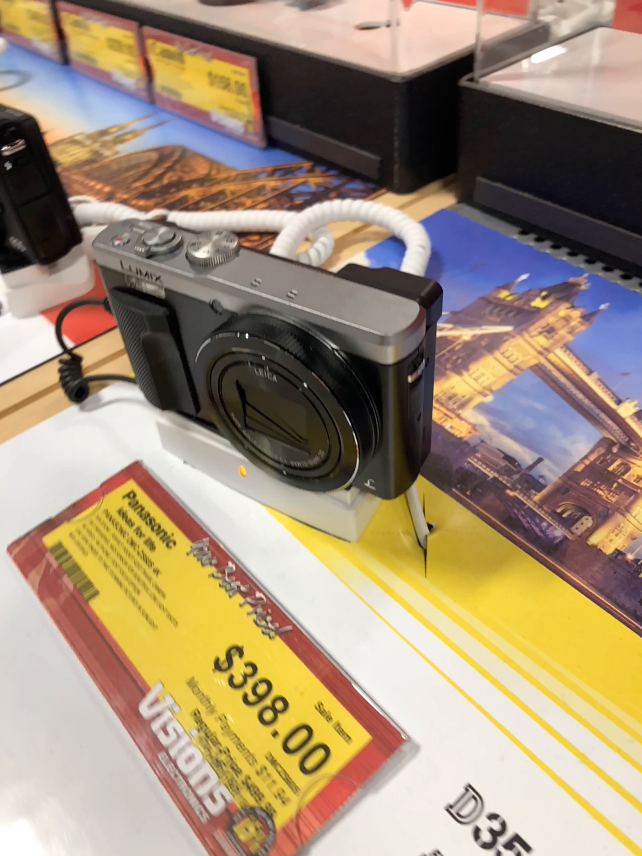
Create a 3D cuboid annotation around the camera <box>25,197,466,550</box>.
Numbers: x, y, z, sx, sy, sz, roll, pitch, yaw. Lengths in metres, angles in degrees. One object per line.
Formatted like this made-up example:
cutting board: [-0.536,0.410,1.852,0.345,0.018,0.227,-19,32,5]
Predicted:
camera: [-0.023,-0.021,0.212,0.120,0.060,0.040,22,51,28]
